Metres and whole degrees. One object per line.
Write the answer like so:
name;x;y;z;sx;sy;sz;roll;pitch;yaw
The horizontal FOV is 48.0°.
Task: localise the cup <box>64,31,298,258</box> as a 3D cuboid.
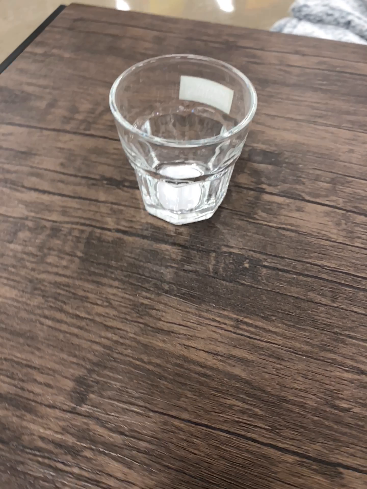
cup;-0.001;-0.064;0.254;0.090;0.070;0.090;0;54;0
